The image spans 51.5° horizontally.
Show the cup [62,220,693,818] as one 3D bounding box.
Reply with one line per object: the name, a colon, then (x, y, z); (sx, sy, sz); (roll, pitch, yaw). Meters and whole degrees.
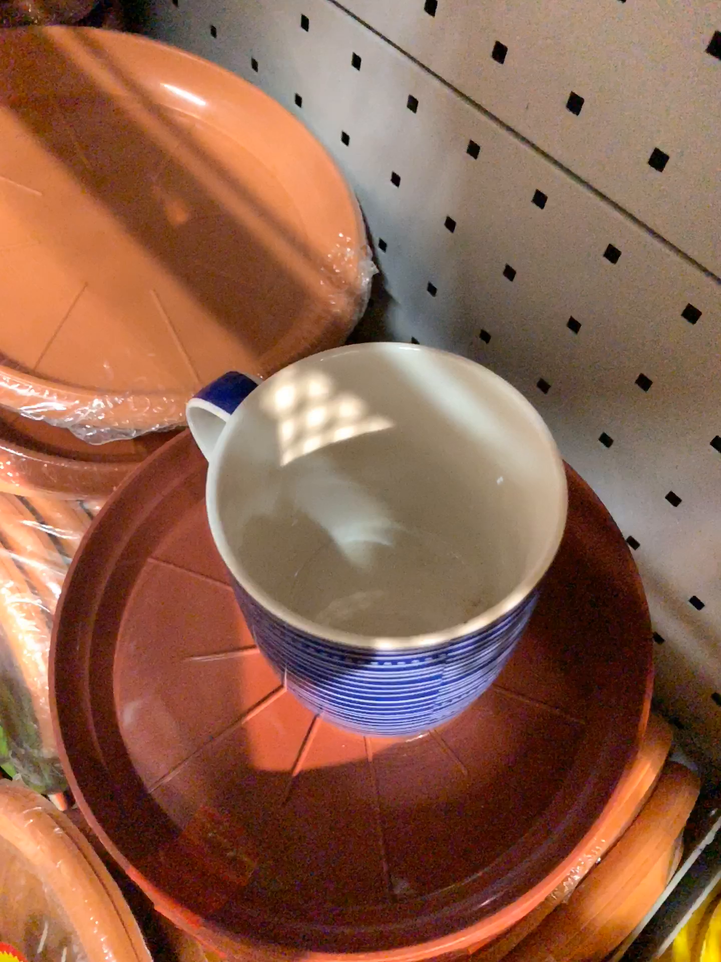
cup: (0.004, 0.010, 0.235); (0.130, 0.100, 0.100); (32, 59, 18)
